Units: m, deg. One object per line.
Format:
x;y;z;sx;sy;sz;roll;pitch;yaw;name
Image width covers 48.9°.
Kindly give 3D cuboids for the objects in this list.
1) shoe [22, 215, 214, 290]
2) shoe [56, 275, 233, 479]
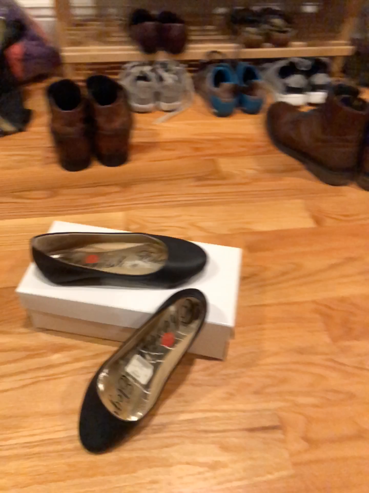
-0.083;0.009;0.556;0.239;0.060;0.076;2;47;-2;shoe
-0.045;0.154;0.503;0.076;0.060;0.239;38;91;11;shoe
